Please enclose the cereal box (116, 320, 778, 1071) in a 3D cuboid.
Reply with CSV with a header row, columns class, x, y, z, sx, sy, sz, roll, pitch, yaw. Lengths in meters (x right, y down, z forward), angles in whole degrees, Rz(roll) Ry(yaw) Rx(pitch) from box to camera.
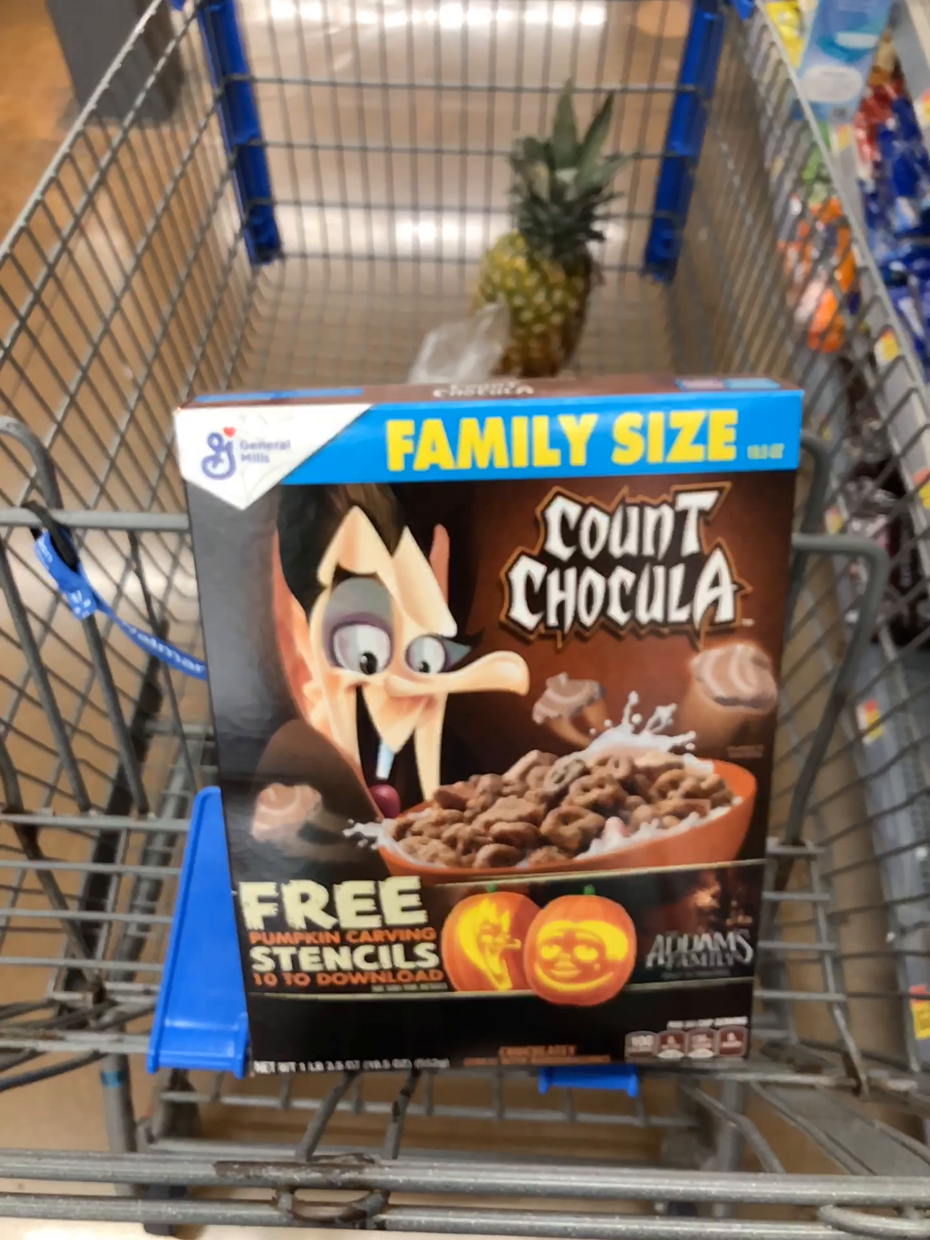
class,x,y,z,sx,sy,sz,roll,pitch,yaw
cereal box,0.001,0.041,0.488,0.250,0.330,0.080,-4,21,-2
